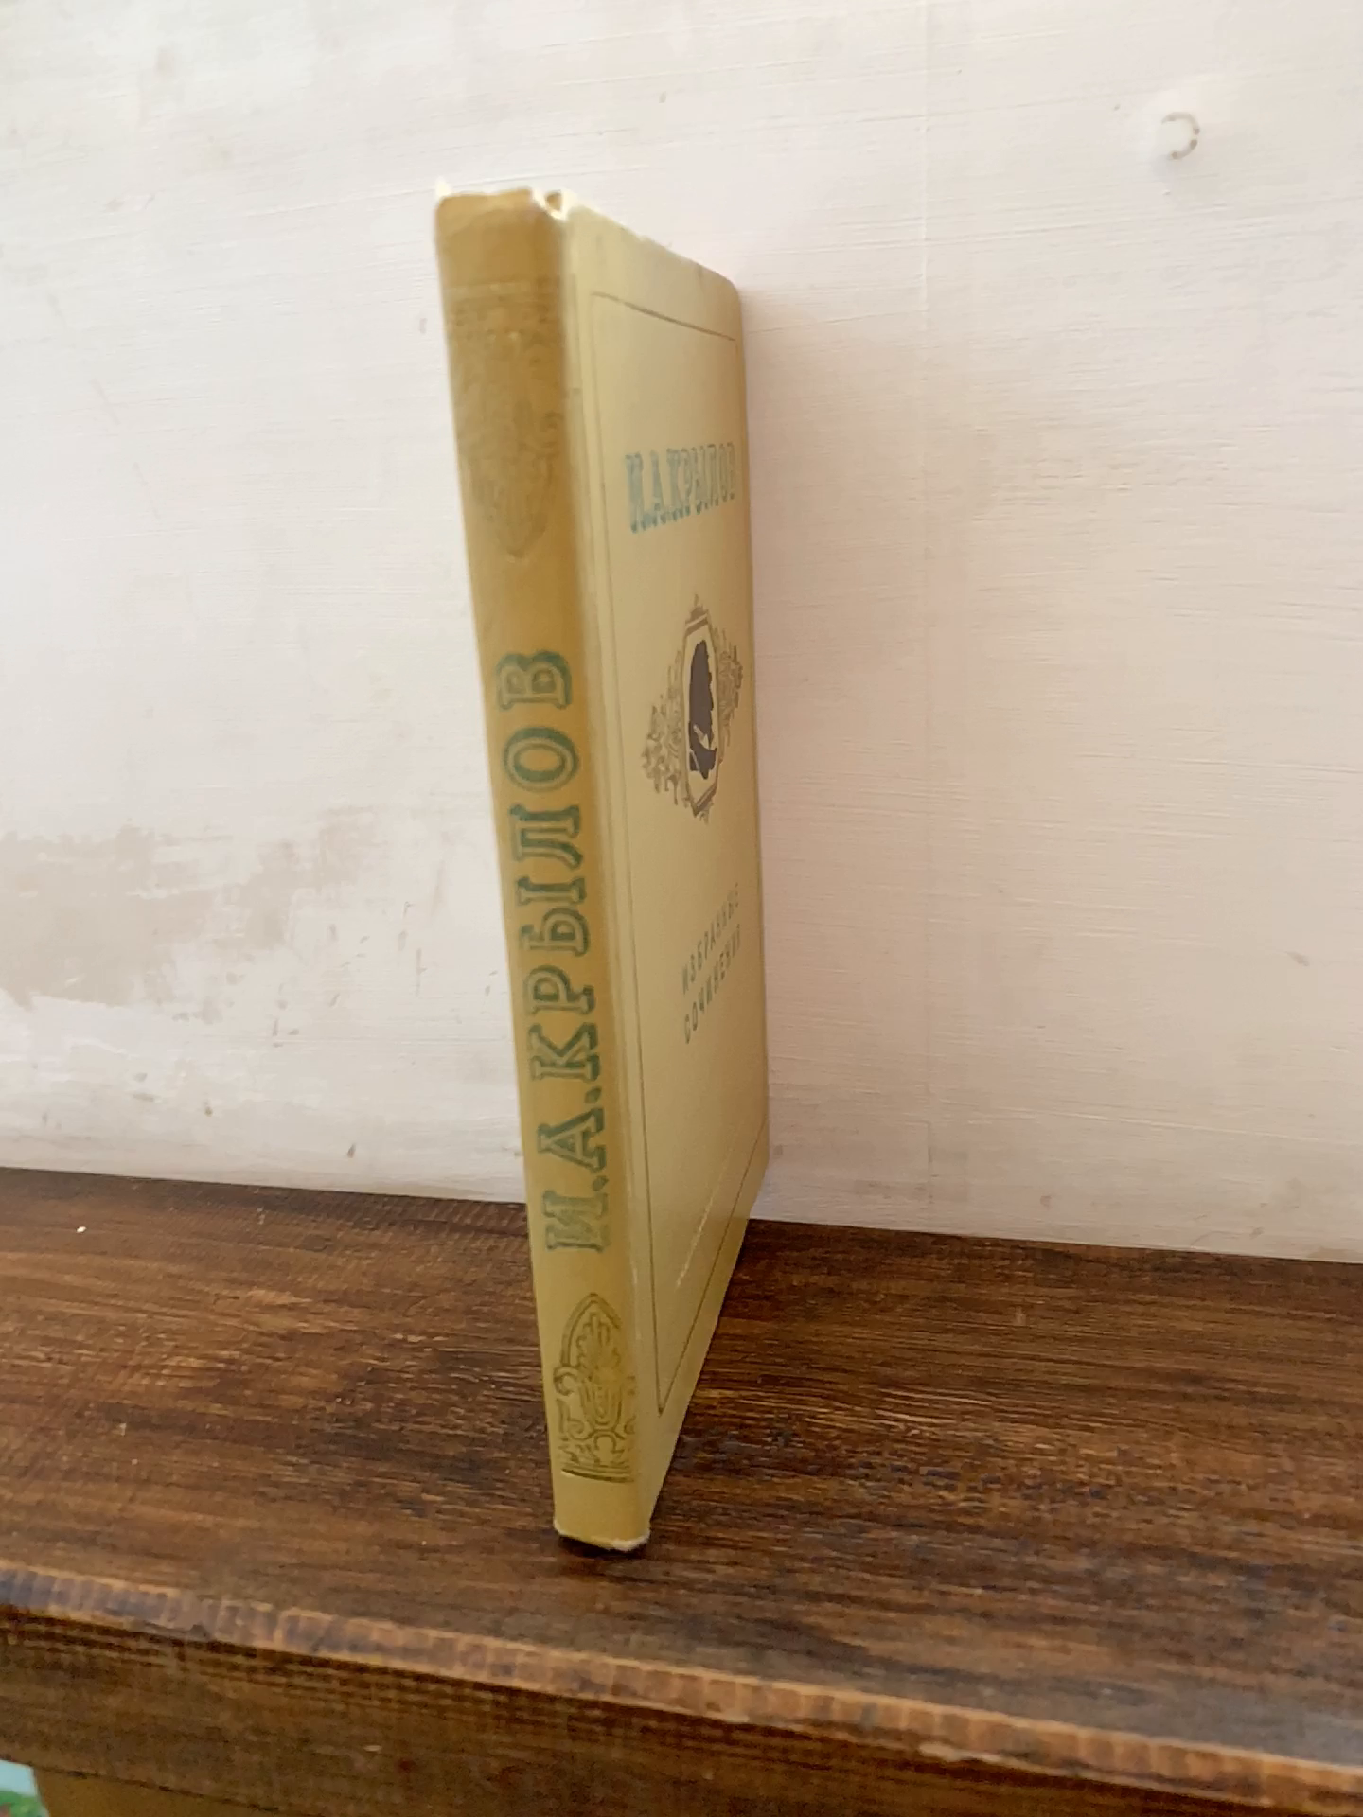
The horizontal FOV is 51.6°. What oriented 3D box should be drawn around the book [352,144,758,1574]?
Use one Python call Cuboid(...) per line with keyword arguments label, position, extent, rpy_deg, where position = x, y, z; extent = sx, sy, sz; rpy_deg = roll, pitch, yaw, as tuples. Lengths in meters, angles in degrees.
Cuboid(label="book", position=(-0.011, -0.012, 0.259), extent=(0.020, 0.205, 0.132), rpy_deg=(1, 17, 13))
